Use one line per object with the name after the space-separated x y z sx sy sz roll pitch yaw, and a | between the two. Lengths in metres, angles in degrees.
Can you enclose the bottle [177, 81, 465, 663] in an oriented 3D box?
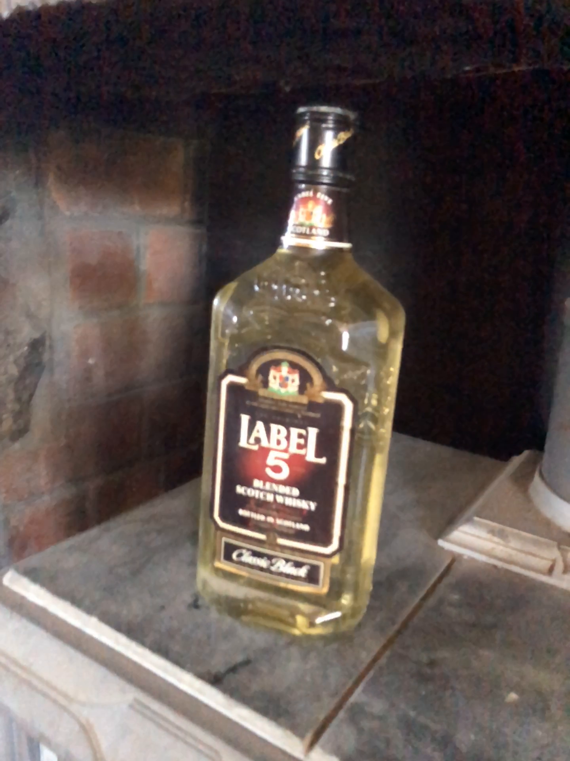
0.013 -0.004 0.306 0.110 0.249 0.060 9 15 20 | bottle
